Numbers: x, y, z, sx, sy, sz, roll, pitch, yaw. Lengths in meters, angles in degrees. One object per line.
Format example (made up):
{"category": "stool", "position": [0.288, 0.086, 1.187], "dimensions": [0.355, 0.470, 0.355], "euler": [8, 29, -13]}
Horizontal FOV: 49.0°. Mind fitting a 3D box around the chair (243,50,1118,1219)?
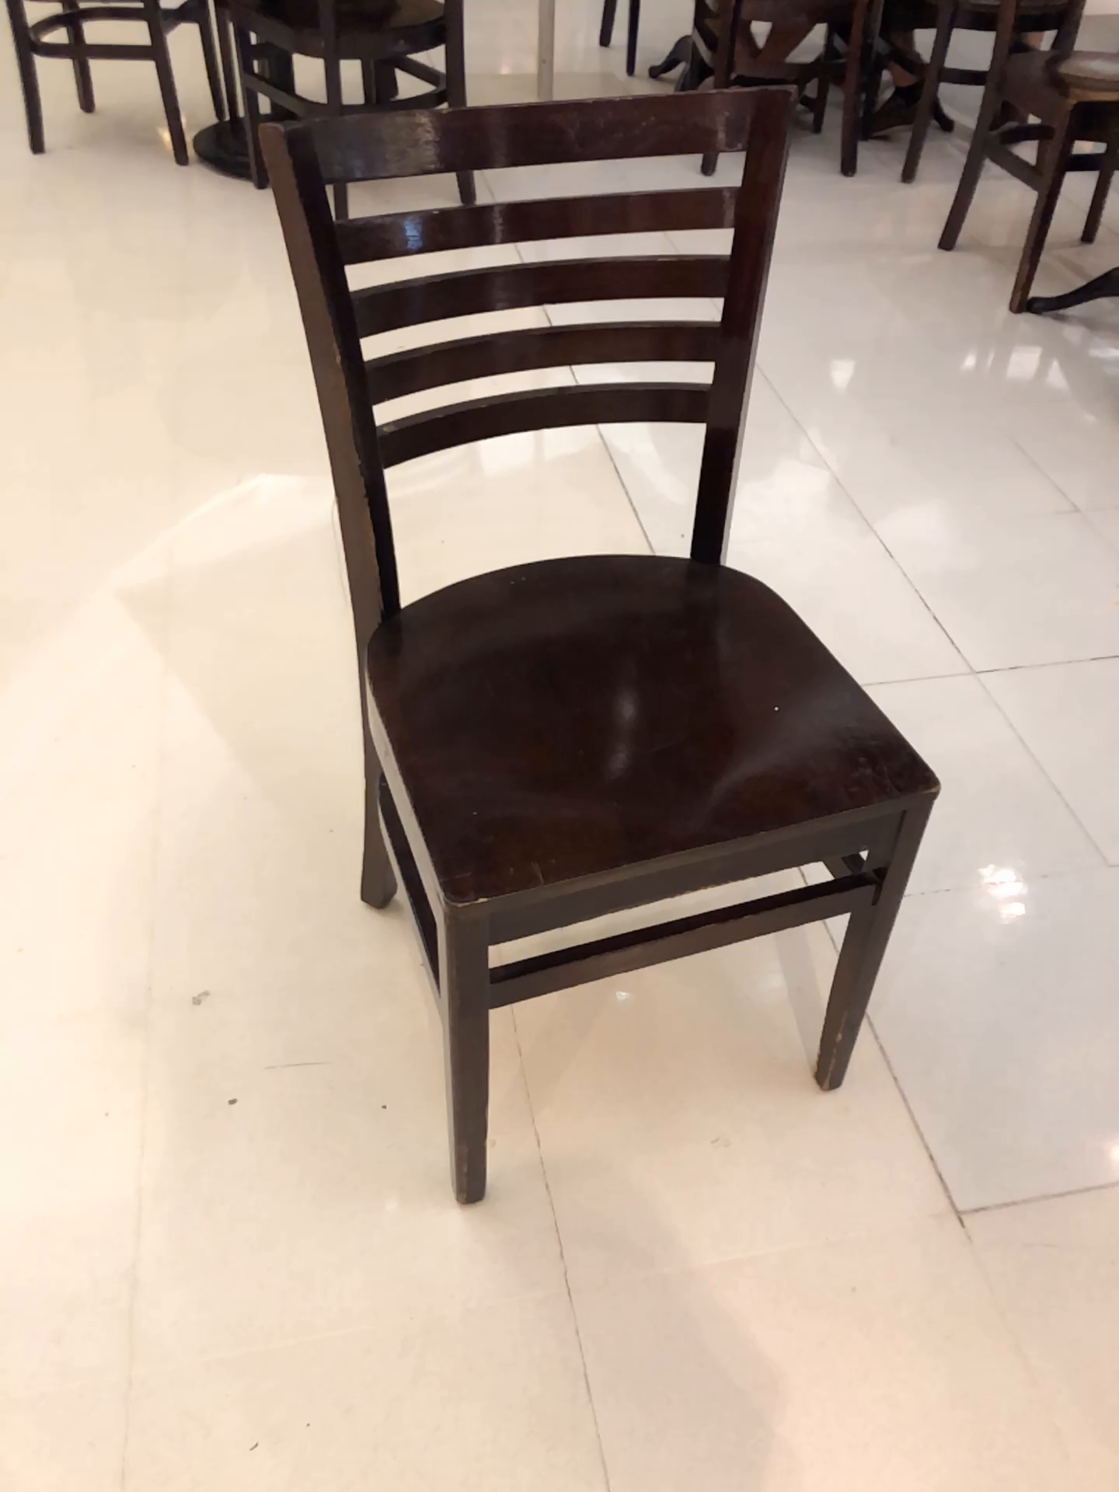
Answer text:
{"category": "chair", "position": [0.041, -0.085, 1.124], "dimensions": [0.461, 0.844, 0.543], "euler": [-11, 44, -14]}
